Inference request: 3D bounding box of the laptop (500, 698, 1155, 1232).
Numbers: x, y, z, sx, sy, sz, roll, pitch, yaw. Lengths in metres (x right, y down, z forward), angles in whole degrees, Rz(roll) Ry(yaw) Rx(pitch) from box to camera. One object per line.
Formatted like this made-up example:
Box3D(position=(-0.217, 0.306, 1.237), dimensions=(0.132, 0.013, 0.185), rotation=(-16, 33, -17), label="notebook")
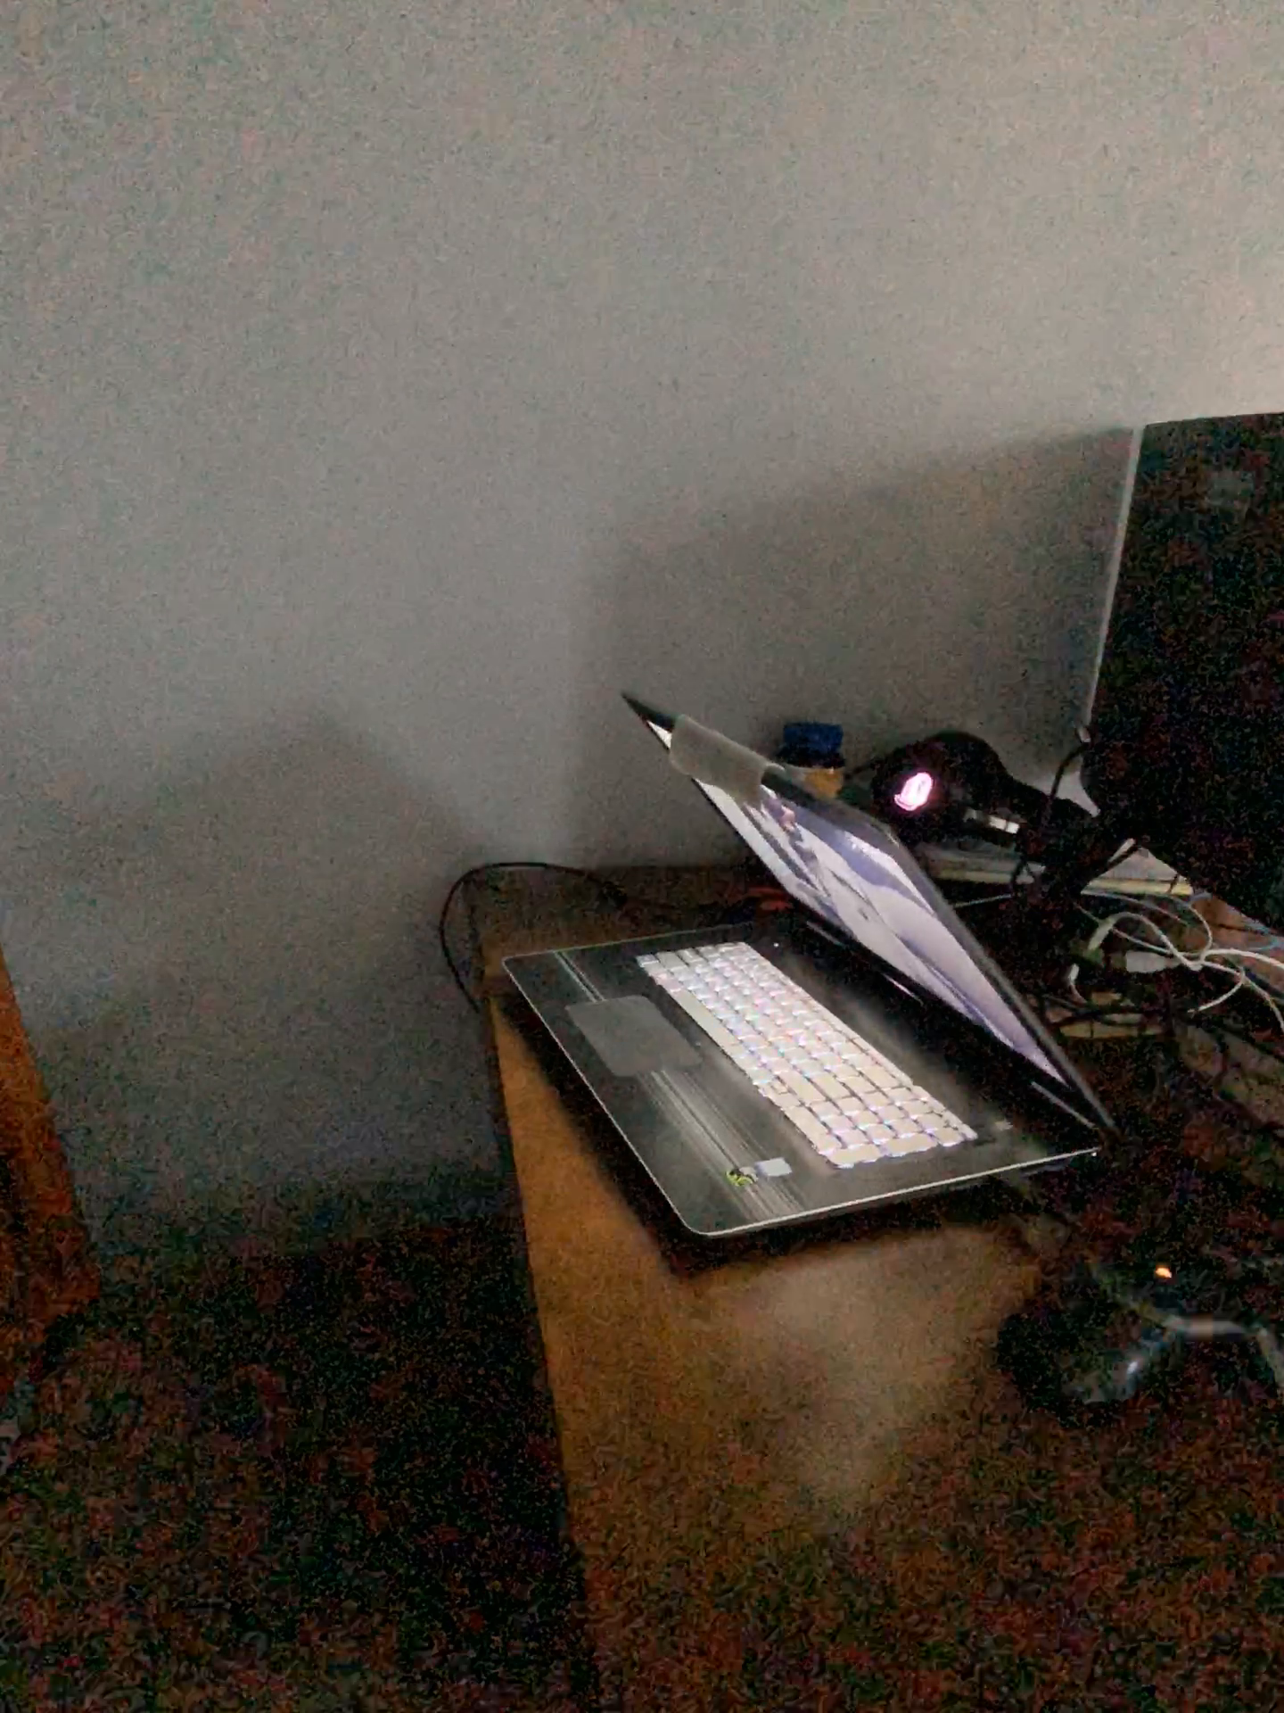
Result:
Box3D(position=(0.082, 0.032, 0.866), dimensions=(0.257, 0.187, 0.394), rotation=(-6, 18, -20), label="laptop")
